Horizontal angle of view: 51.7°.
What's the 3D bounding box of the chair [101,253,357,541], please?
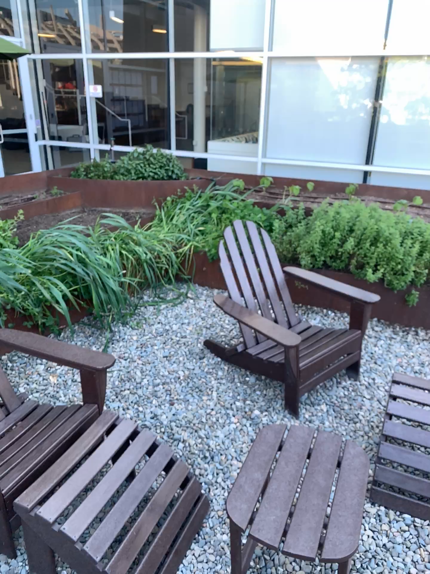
[{"bbox_3d":[0.008,0.492,2.554,1.000,0.995,1.005,-10,26,-25],"label":"chair"}]
